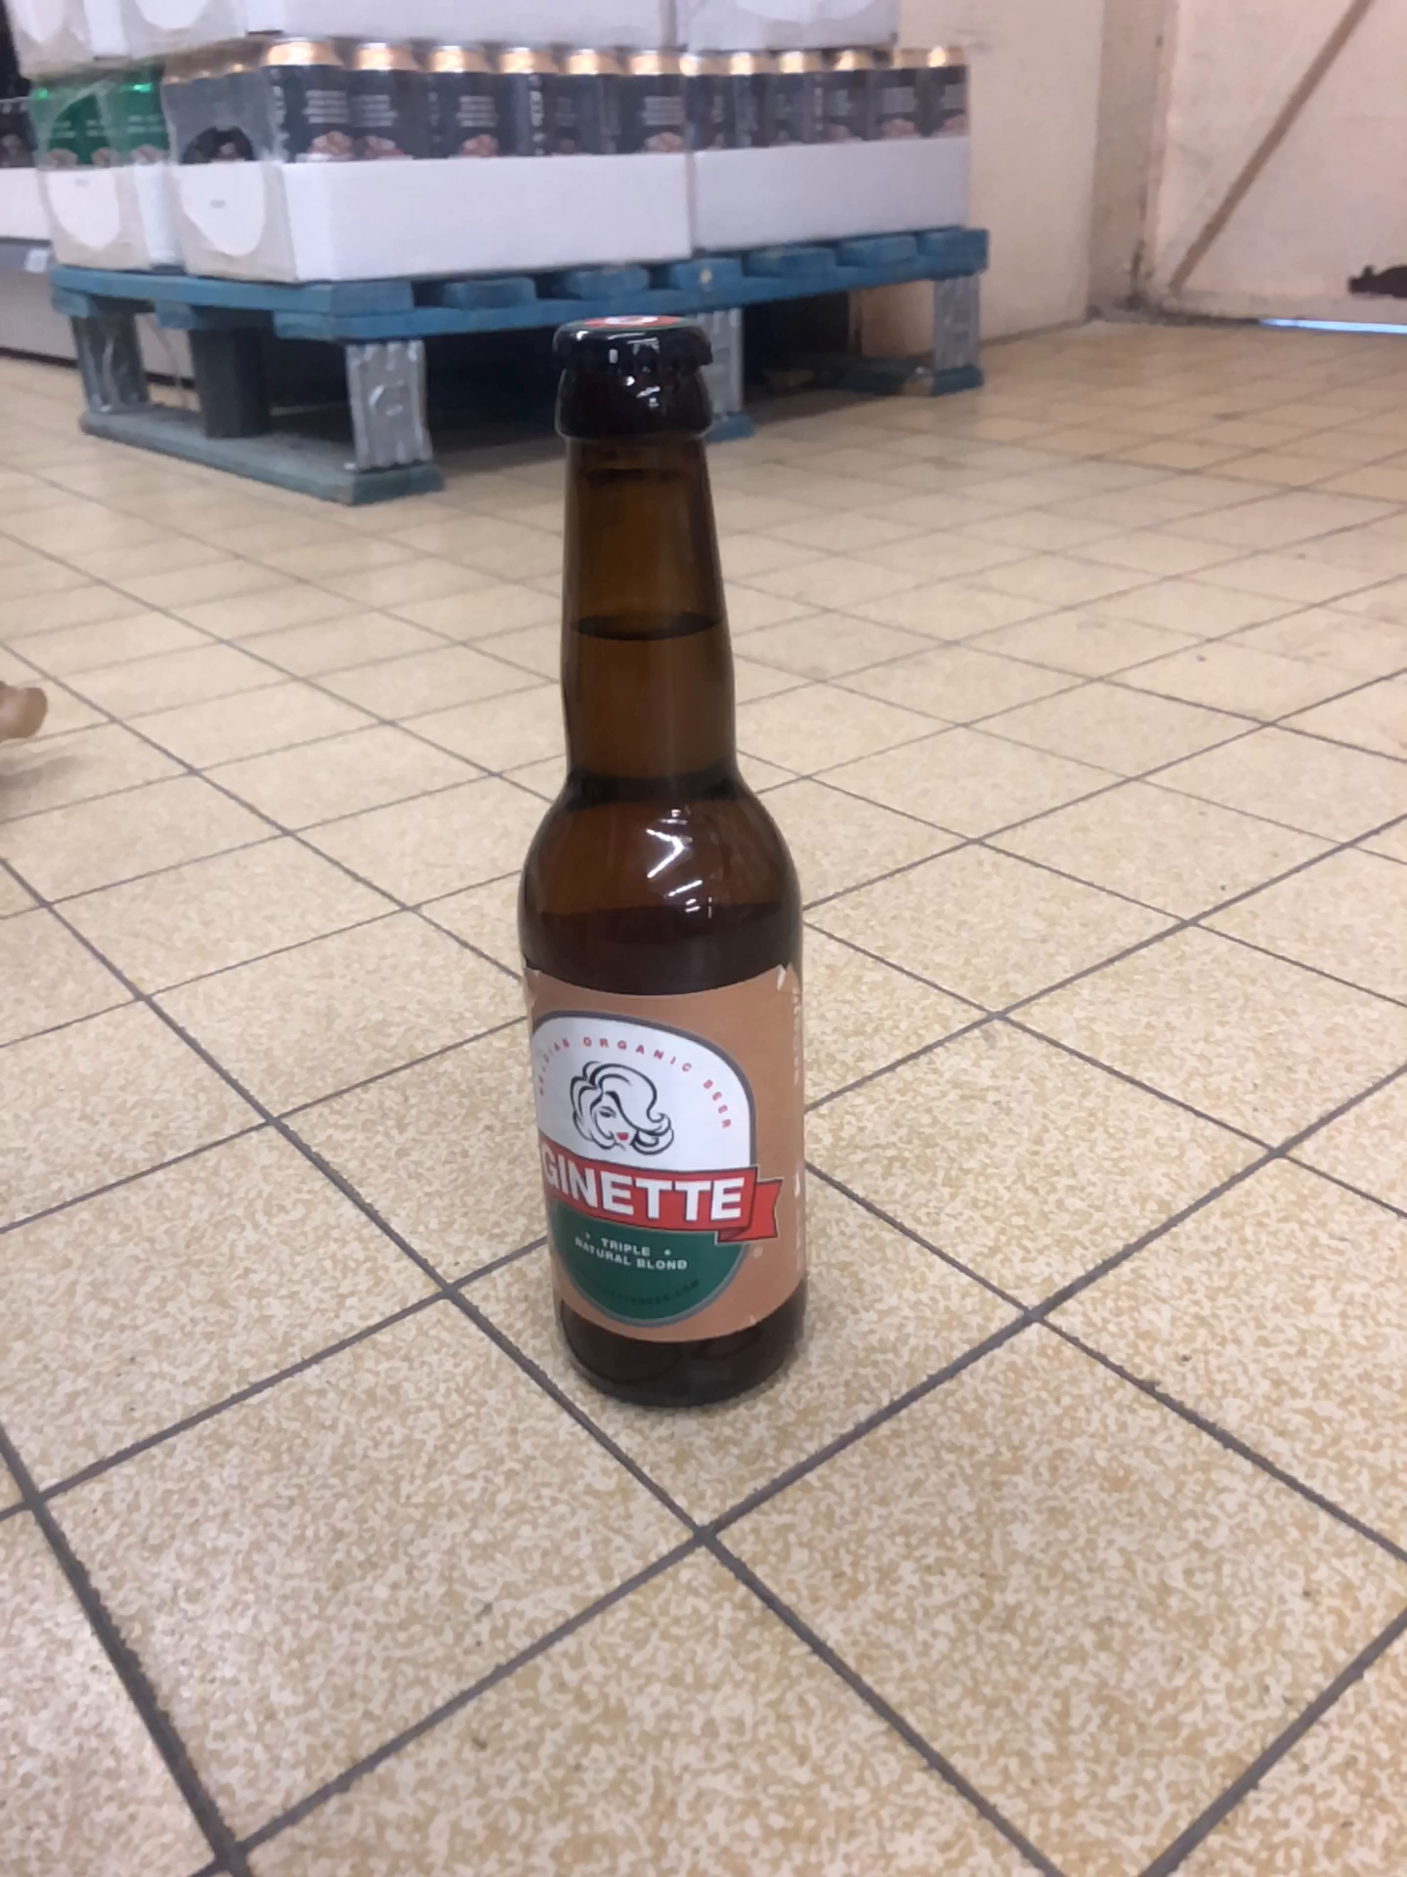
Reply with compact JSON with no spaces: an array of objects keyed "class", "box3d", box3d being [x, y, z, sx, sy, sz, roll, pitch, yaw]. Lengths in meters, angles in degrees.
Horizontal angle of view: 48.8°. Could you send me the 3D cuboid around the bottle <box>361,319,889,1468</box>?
[{"class":"bottle","box3d":[-0.008,-0.007,0.320,0.070,0.219,0.070,-2,26,1]}]
